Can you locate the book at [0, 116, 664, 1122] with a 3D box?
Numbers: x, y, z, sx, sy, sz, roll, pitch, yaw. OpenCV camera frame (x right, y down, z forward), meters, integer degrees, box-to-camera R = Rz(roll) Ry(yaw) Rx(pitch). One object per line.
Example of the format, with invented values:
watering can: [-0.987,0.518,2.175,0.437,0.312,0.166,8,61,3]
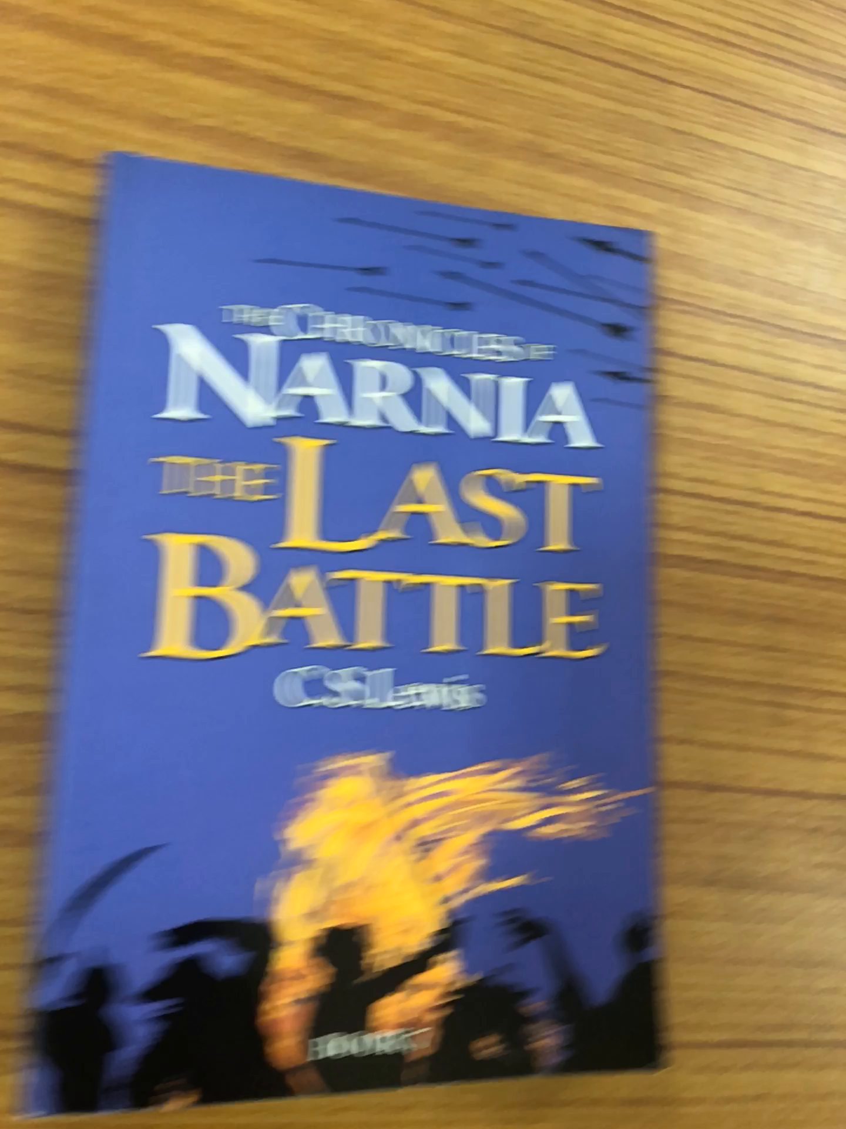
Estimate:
book: [-0.016,0.010,0.221,0.140,0.030,0.200,4,81,-15]
